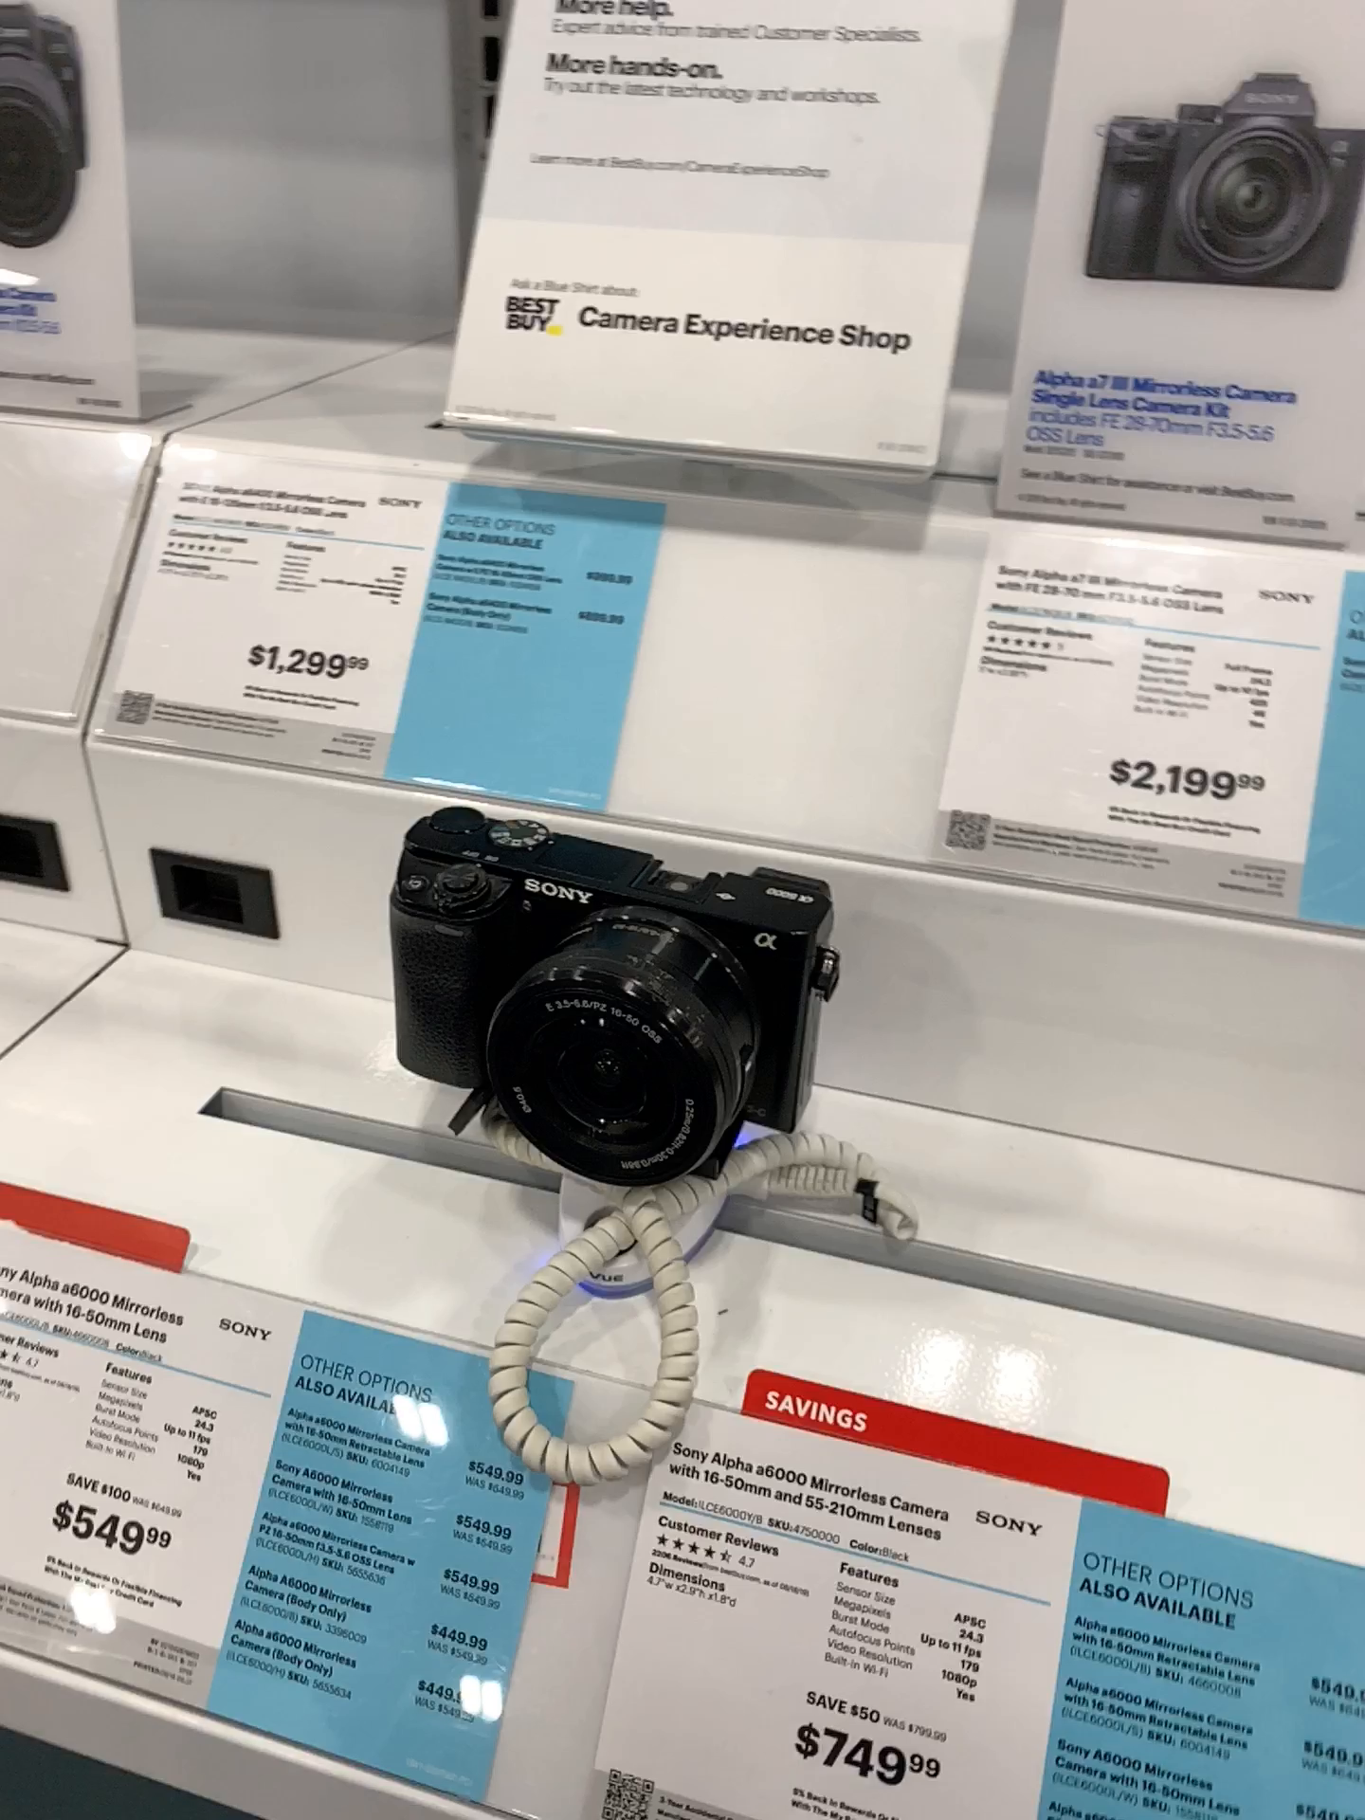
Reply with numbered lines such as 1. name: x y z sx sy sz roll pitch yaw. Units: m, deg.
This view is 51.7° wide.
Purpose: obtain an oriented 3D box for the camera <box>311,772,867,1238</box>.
1. camera: -0.024 0.022 0.384 0.130 0.080 0.060 12 31 18
